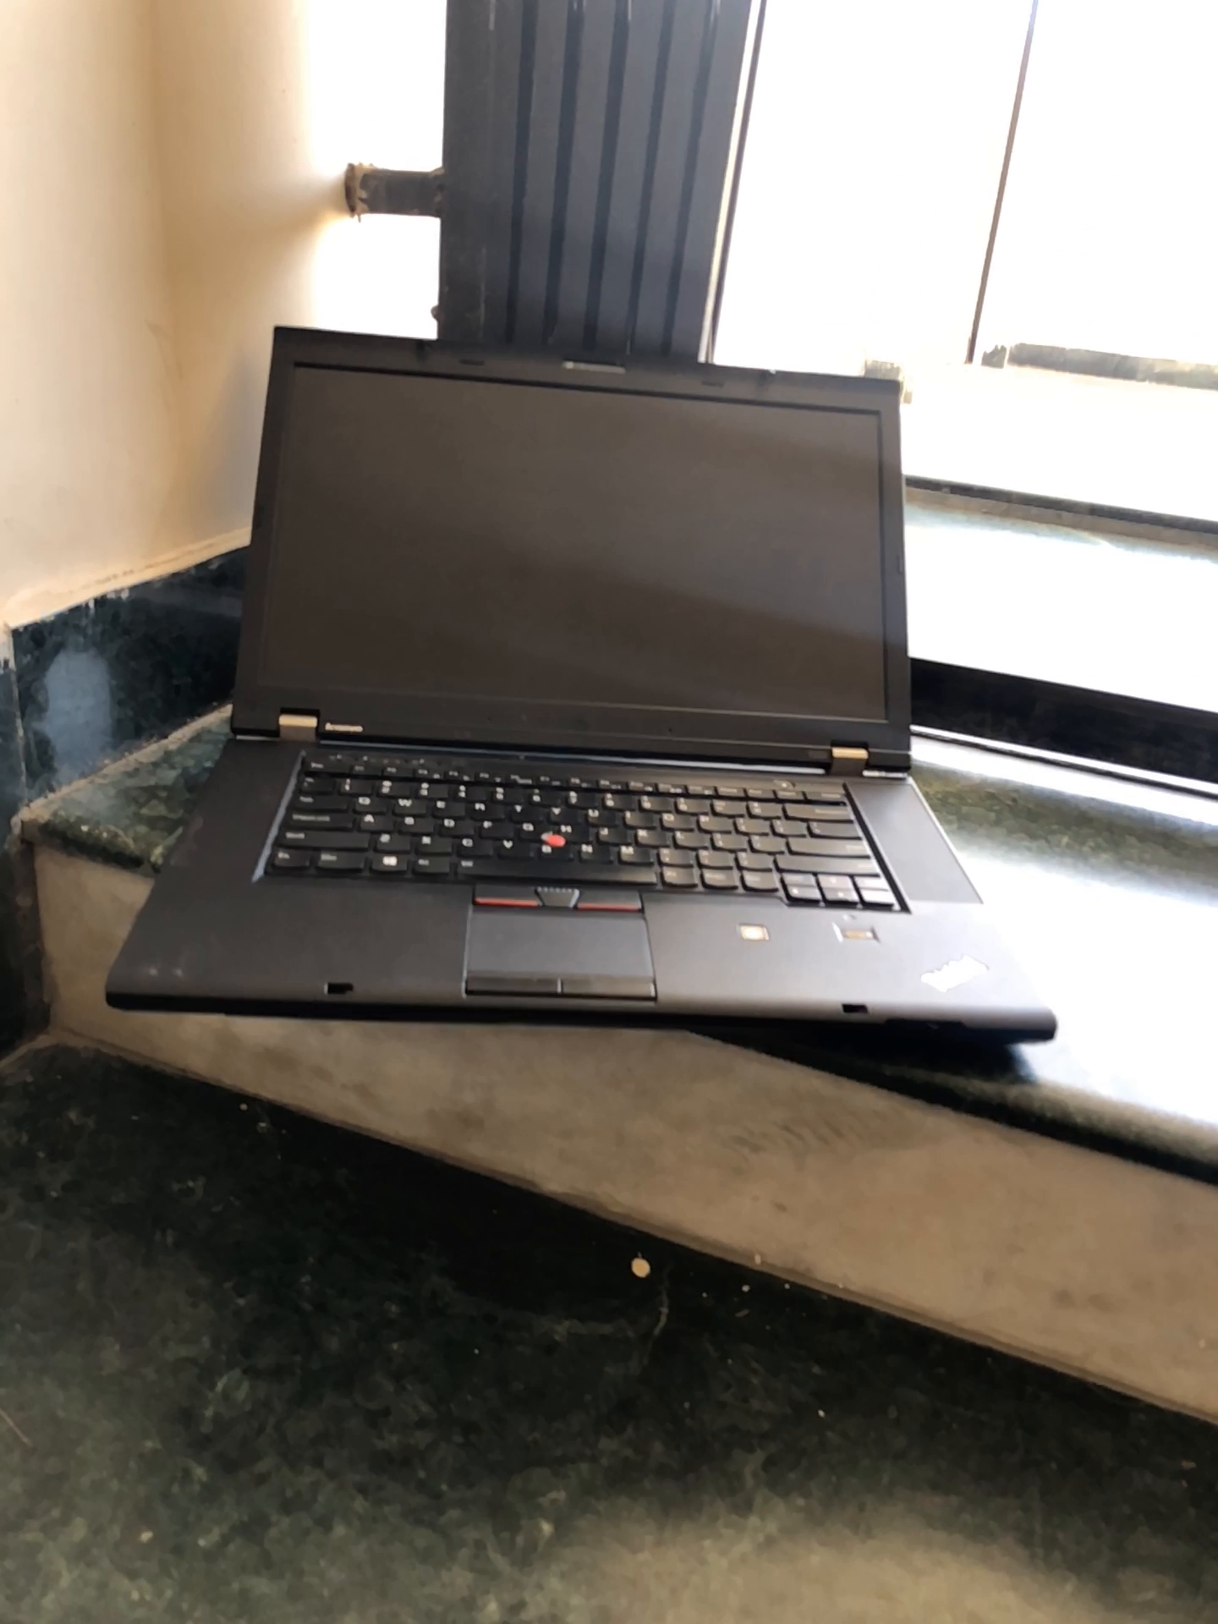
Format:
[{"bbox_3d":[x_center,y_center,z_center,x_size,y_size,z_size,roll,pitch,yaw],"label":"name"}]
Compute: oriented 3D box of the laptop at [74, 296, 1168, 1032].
[{"bbox_3d":[-0.007,-0.104,0.636,0.359,0.181,0.390,3,28,-5],"label":"laptop"}]
